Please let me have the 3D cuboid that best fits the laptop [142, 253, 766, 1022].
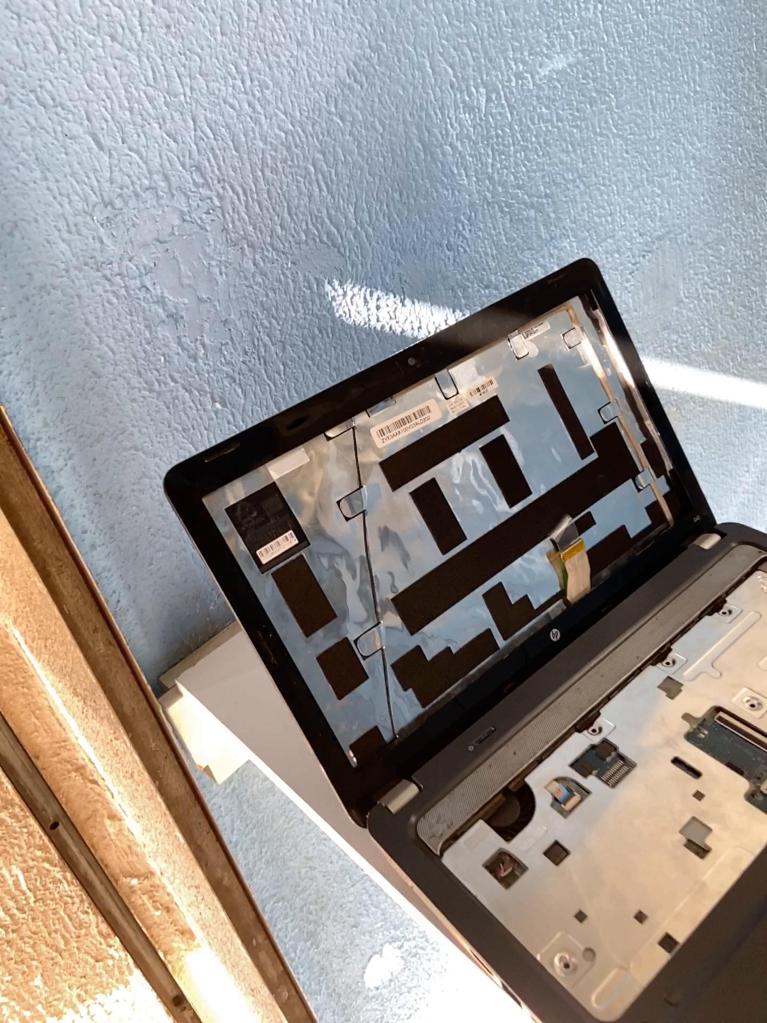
[{"bbox_3d":[0.130,0.032,0.414,0.339,0.179,0.350,-31,39,-26],"label":"laptop"}]
